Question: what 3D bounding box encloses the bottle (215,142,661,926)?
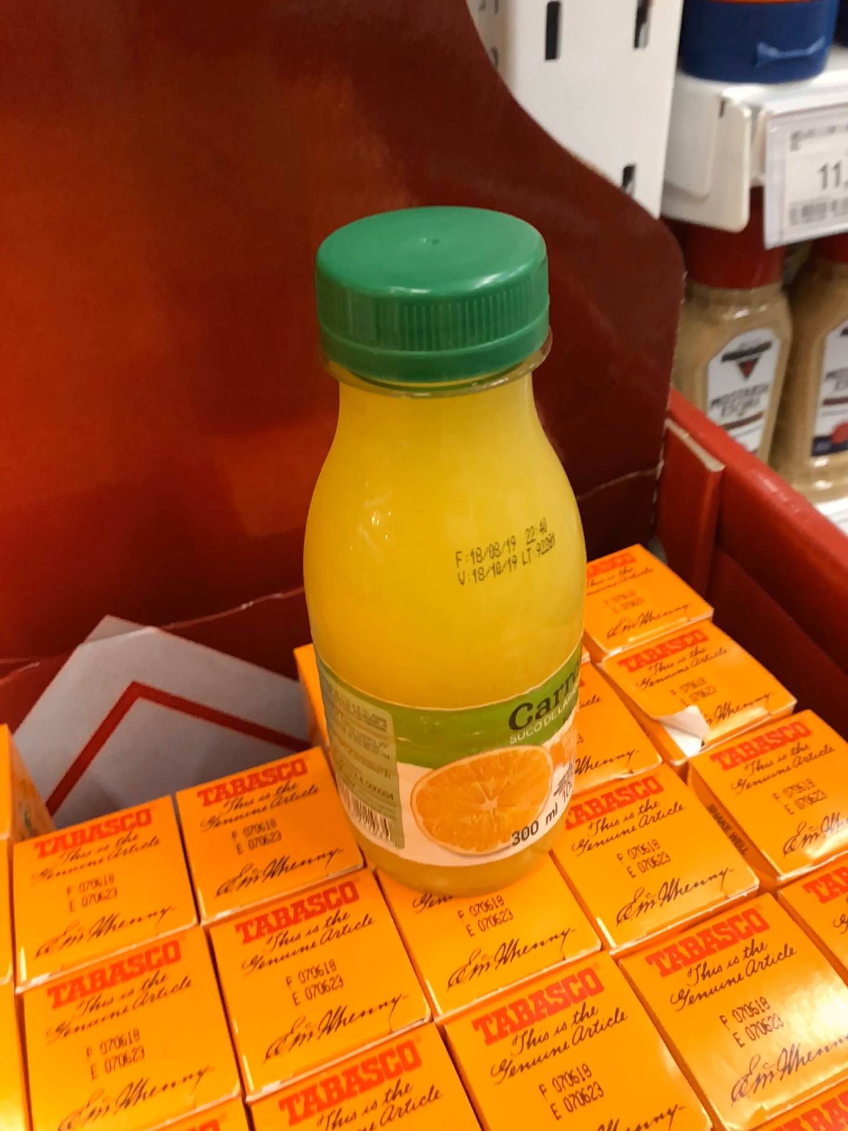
[{"bbox_3d":[0.009,0.000,0.200,0.050,0.149,0.060,17,43,25],"label":"bottle"}]
